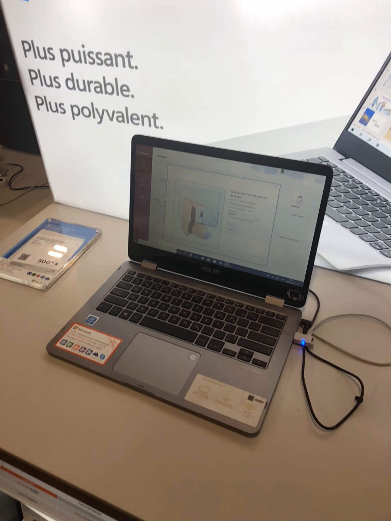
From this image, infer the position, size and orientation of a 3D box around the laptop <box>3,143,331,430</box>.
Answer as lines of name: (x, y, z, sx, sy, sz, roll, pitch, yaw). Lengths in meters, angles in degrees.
laptop: (-0.016, 0.008, 0.599, 0.312, 0.214, 0.273, 15, 40, 20)
